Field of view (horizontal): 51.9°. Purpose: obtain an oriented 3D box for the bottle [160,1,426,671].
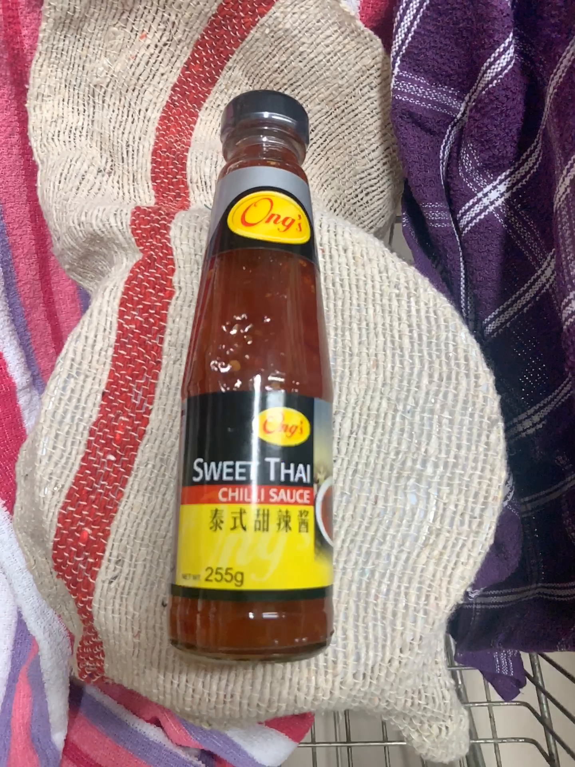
[{"bbox_3d":[0.003,-0.016,0.193,0.060,0.050,0.190,8,78,-17],"label":"bottle"}]
